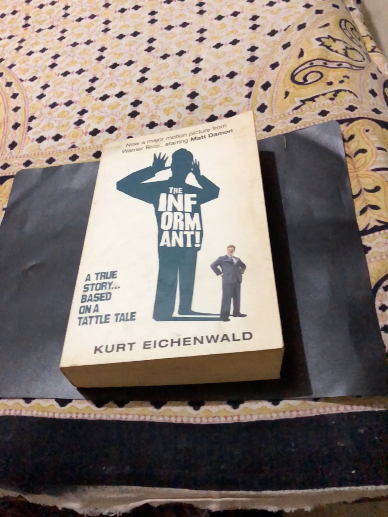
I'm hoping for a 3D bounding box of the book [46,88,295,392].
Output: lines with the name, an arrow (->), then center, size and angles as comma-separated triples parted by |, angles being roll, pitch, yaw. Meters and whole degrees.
book -> -0.010, -0.026, 0.324 | 0.140, 0.050, 0.230 | -7, 54, 11
